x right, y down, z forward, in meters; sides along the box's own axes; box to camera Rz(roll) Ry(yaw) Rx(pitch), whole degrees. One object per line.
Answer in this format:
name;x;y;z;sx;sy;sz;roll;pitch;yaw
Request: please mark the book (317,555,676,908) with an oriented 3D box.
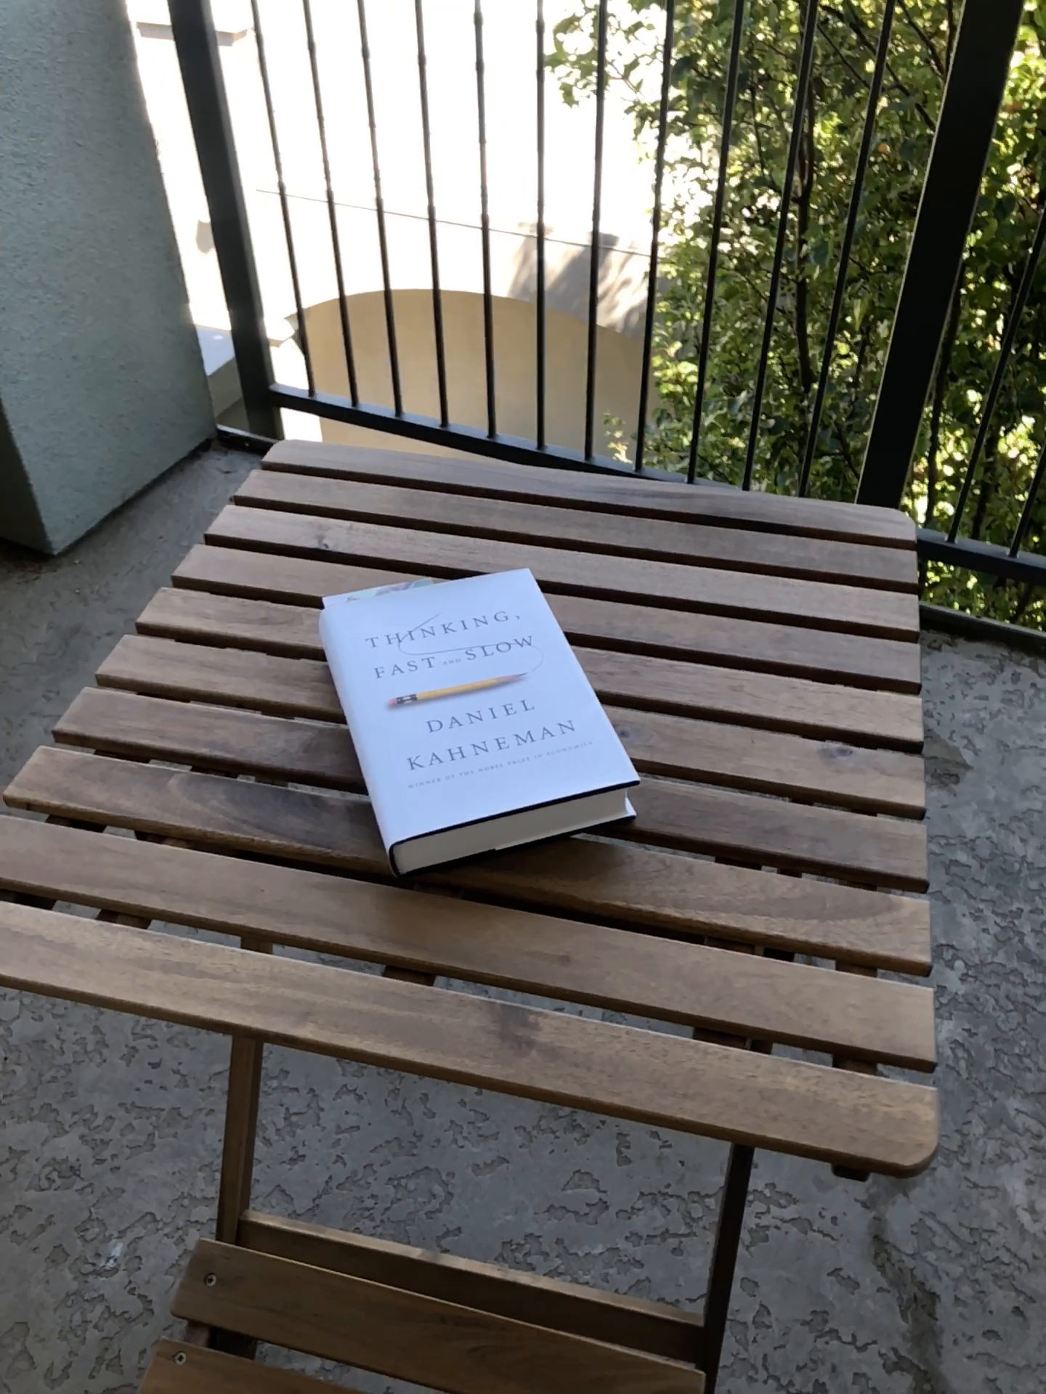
book;-0.029;0.010;0.812;0.180;0.050;0.261;-12;44;-13
